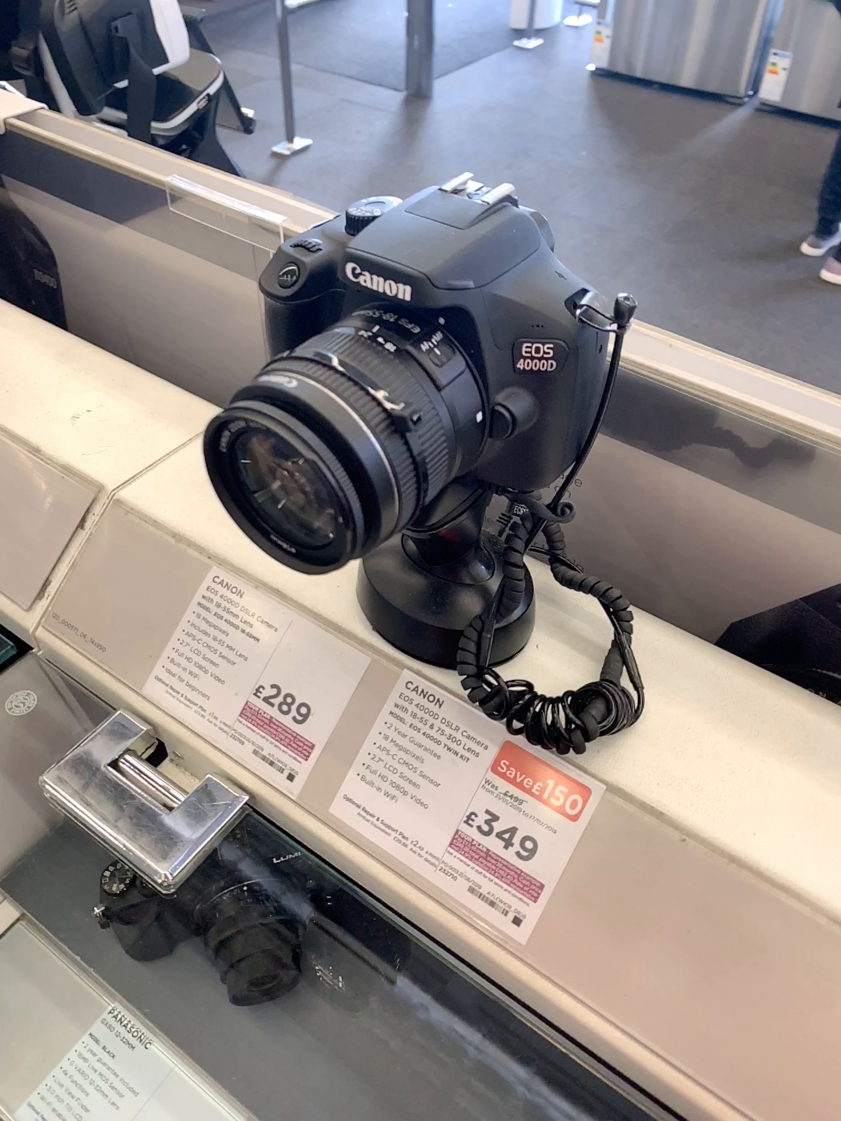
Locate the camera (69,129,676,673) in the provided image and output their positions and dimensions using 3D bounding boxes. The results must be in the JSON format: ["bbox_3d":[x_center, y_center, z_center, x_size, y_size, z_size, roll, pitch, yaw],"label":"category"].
[{"bbox_3d":[-0.014,-0.068,0.312,0.141,0.101,0.136,30,51,26],"label":"camera"}]
